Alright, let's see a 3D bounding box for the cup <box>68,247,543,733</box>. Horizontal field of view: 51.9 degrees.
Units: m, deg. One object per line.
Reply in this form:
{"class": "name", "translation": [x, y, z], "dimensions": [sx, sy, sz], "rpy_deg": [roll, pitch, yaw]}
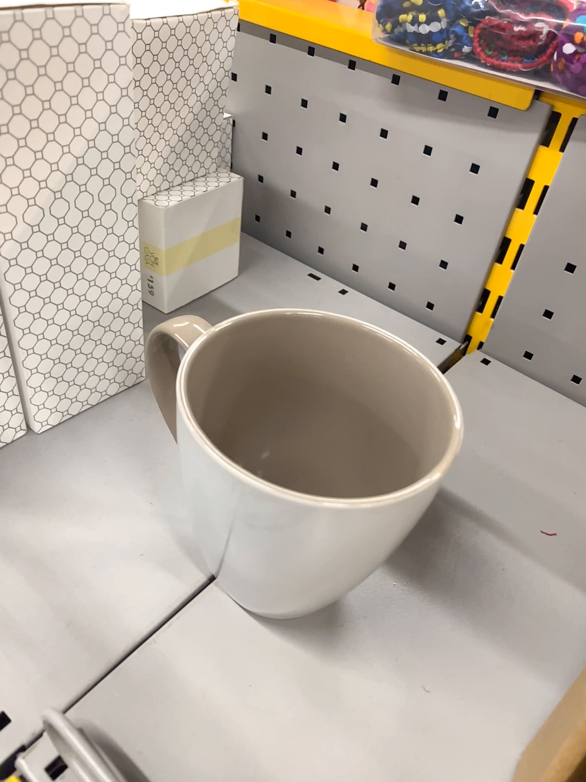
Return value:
{"class": "cup", "translation": [-0.002, 0.029, 0.247], "dimensions": [0.140, 0.100, 0.100], "rpy_deg": [36, 47, 26]}
